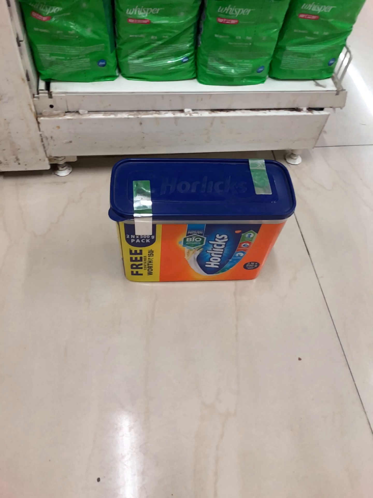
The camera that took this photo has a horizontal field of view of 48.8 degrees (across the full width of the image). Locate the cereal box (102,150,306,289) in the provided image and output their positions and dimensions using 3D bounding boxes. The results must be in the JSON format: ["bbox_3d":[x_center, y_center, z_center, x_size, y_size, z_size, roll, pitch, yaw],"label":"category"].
[{"bbox_3d":[0.012,-0.034,0.534,0.220,0.159,0.100,-1,57,-6],"label":"cereal box"}]
